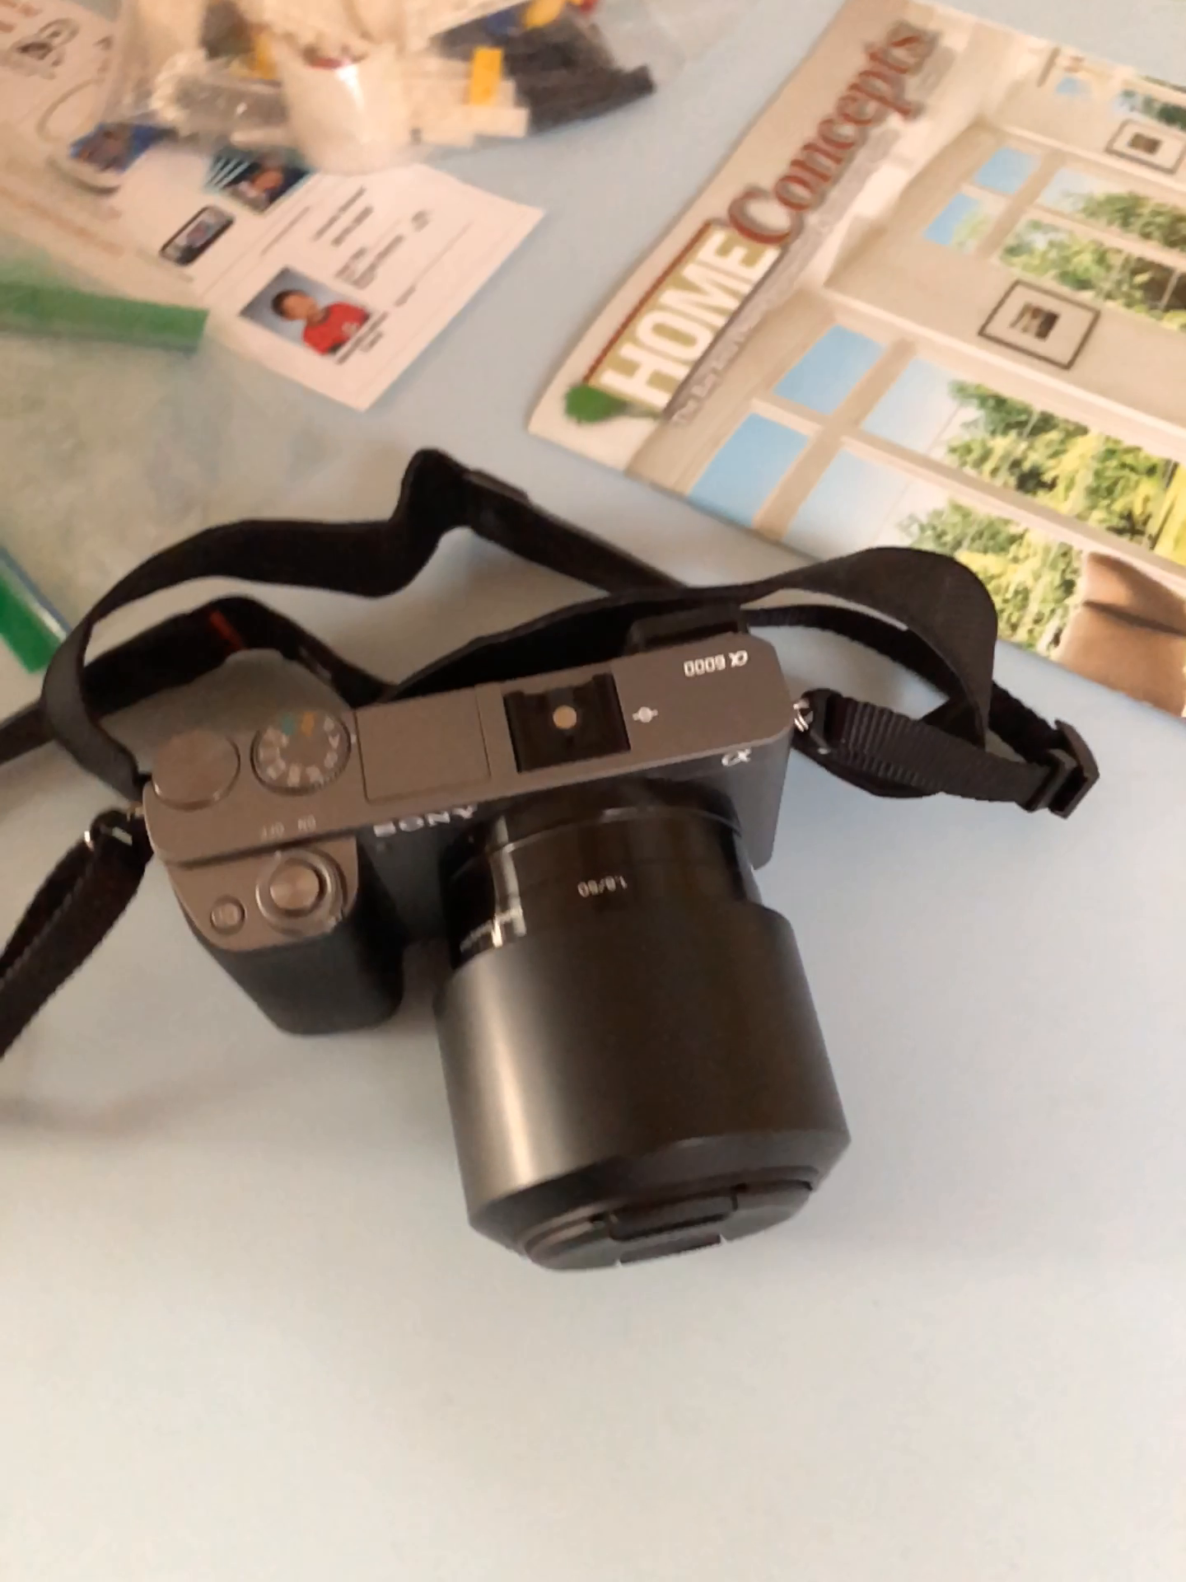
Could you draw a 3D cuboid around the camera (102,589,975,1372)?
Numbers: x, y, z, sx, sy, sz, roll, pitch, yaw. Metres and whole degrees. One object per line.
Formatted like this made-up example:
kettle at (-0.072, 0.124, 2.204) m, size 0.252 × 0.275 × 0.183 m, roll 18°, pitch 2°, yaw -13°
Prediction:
camera at (-0.014, 0.038, 0.253) m, size 0.130 × 0.070 × 0.110 m, roll -11°, pitch 65°, yaw -2°
